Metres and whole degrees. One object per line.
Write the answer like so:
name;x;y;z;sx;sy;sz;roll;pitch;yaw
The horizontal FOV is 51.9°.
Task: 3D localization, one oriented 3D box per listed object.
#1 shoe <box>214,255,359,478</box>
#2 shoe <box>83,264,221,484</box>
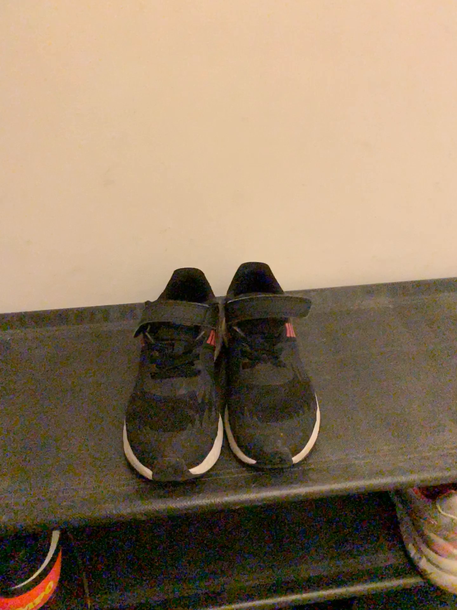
shoe;0.036;0.039;0.416;0.090;0.079;0.202;-2;33;-3
shoe;-0.053;0.046;0.418;0.090;0.079;0.202;-1;33;0
